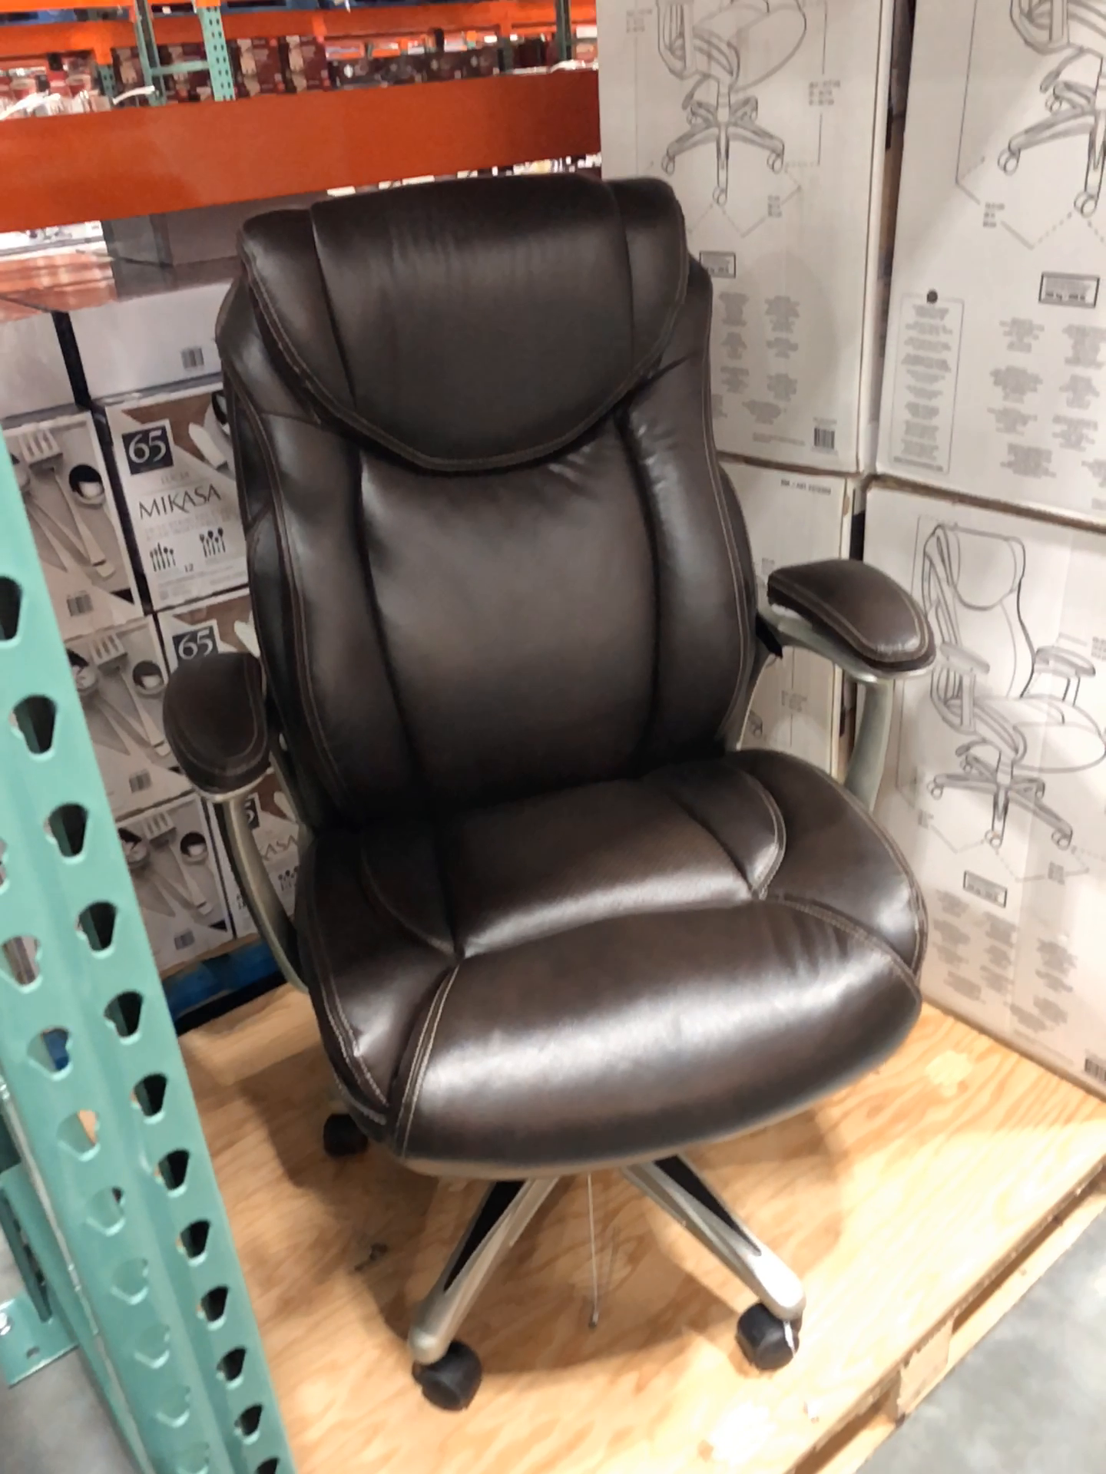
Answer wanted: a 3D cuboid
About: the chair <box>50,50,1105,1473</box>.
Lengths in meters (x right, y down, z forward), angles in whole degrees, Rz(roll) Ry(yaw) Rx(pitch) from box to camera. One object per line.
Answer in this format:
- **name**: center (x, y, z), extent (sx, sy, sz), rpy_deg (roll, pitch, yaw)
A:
- **chair**: center (-0.008, -0.014, 1.213), extent (0.660, 1.095, 0.723), rpy_deg (-14, 29, -16)
